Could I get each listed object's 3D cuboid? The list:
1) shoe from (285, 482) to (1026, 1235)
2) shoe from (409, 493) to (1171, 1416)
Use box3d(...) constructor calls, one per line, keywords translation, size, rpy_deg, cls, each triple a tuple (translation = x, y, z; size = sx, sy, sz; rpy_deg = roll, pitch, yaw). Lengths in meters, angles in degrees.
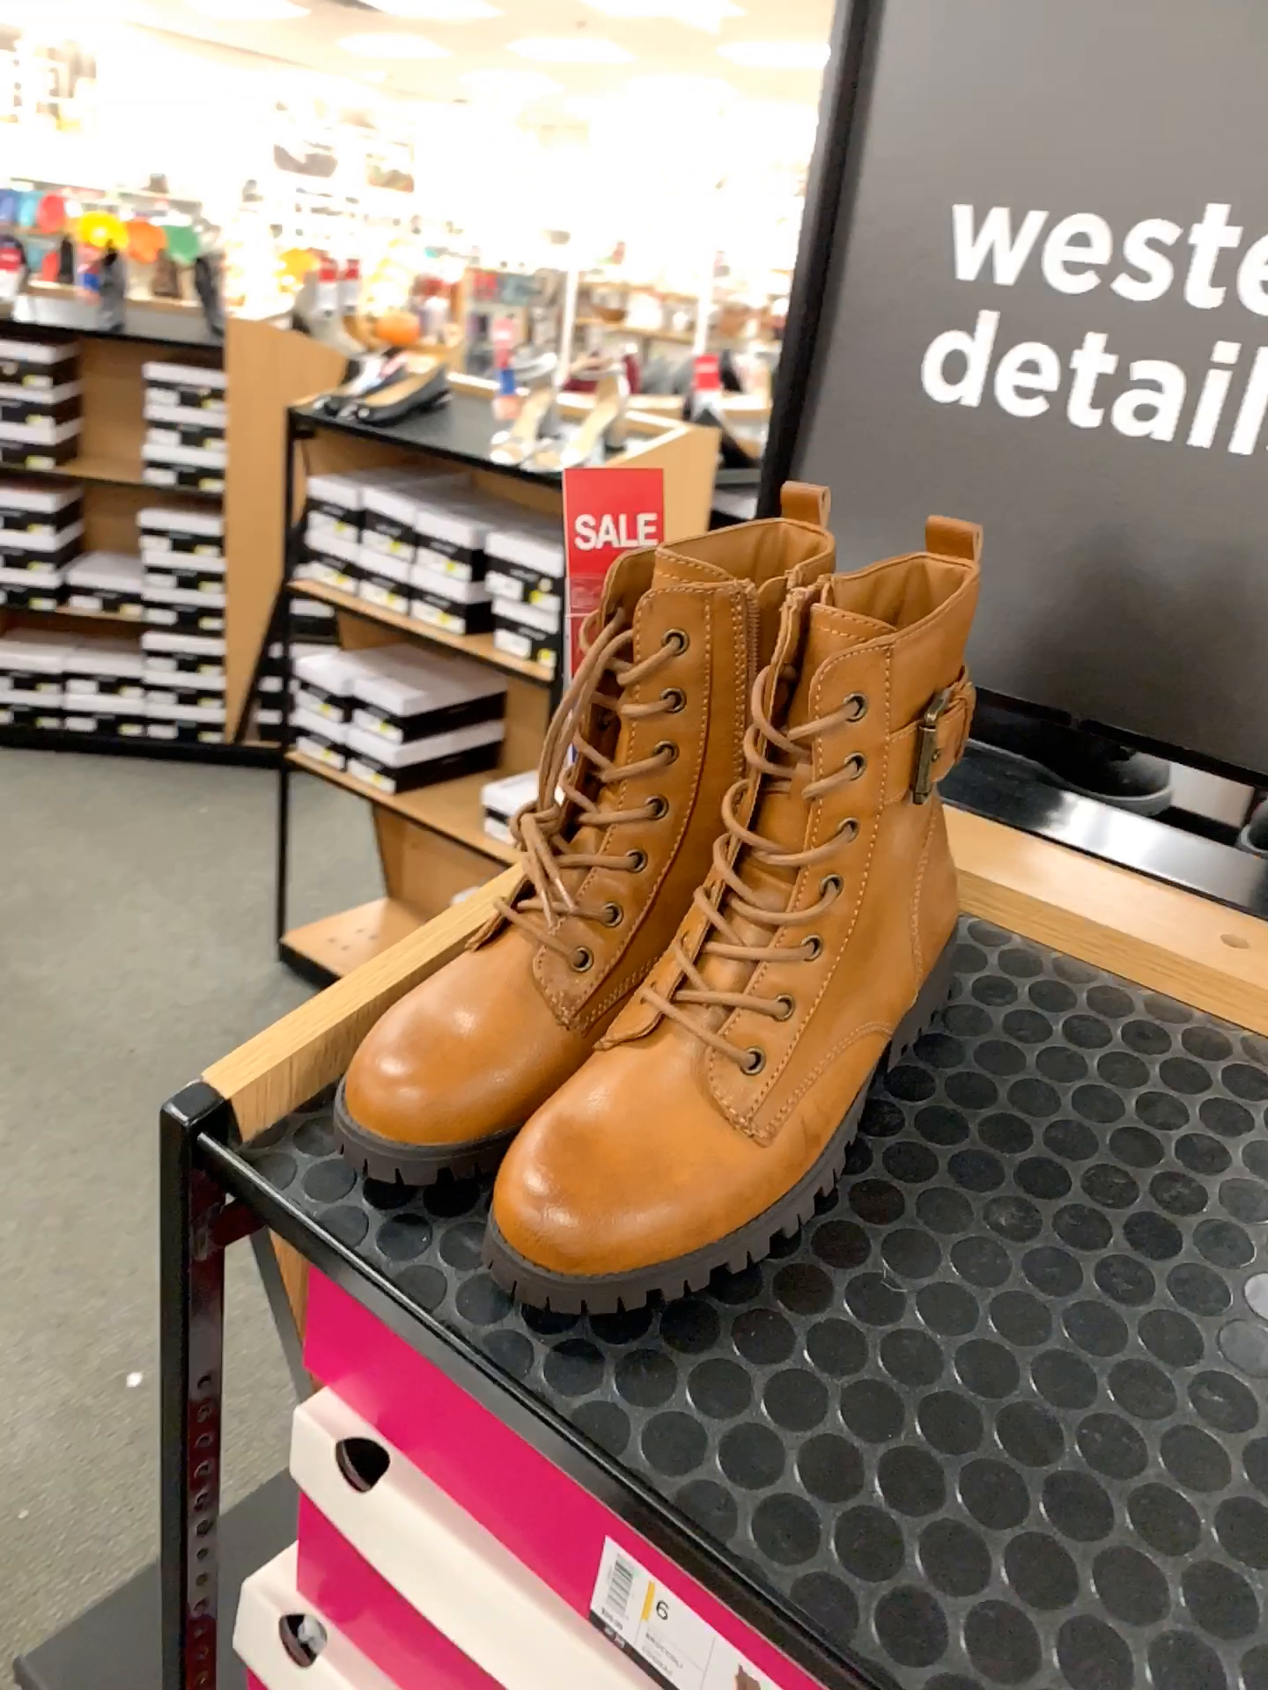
box3d(translation=(0.013, -0.016, 0.511), size=(0.276, 0.229, 0.090), rpy_deg=(-14, 31, -41), cls="shoe")
box3d(translation=(0.068, 0.006, 0.471), size=(0.110, 0.229, 0.287), rpy_deg=(22, 27, 30), cls="shoe")
